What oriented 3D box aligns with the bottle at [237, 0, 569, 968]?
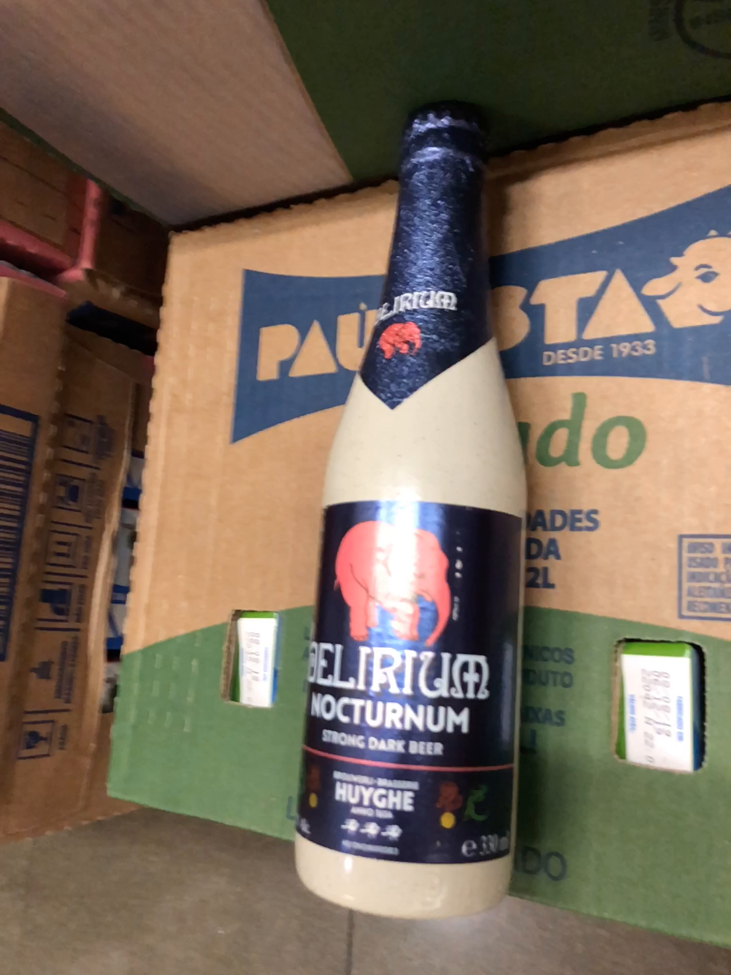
[{"bbox_3d":[0.017,-0.016,0.229,0.060,0.050,0.250,-2,77,30],"label":"bottle"}]
